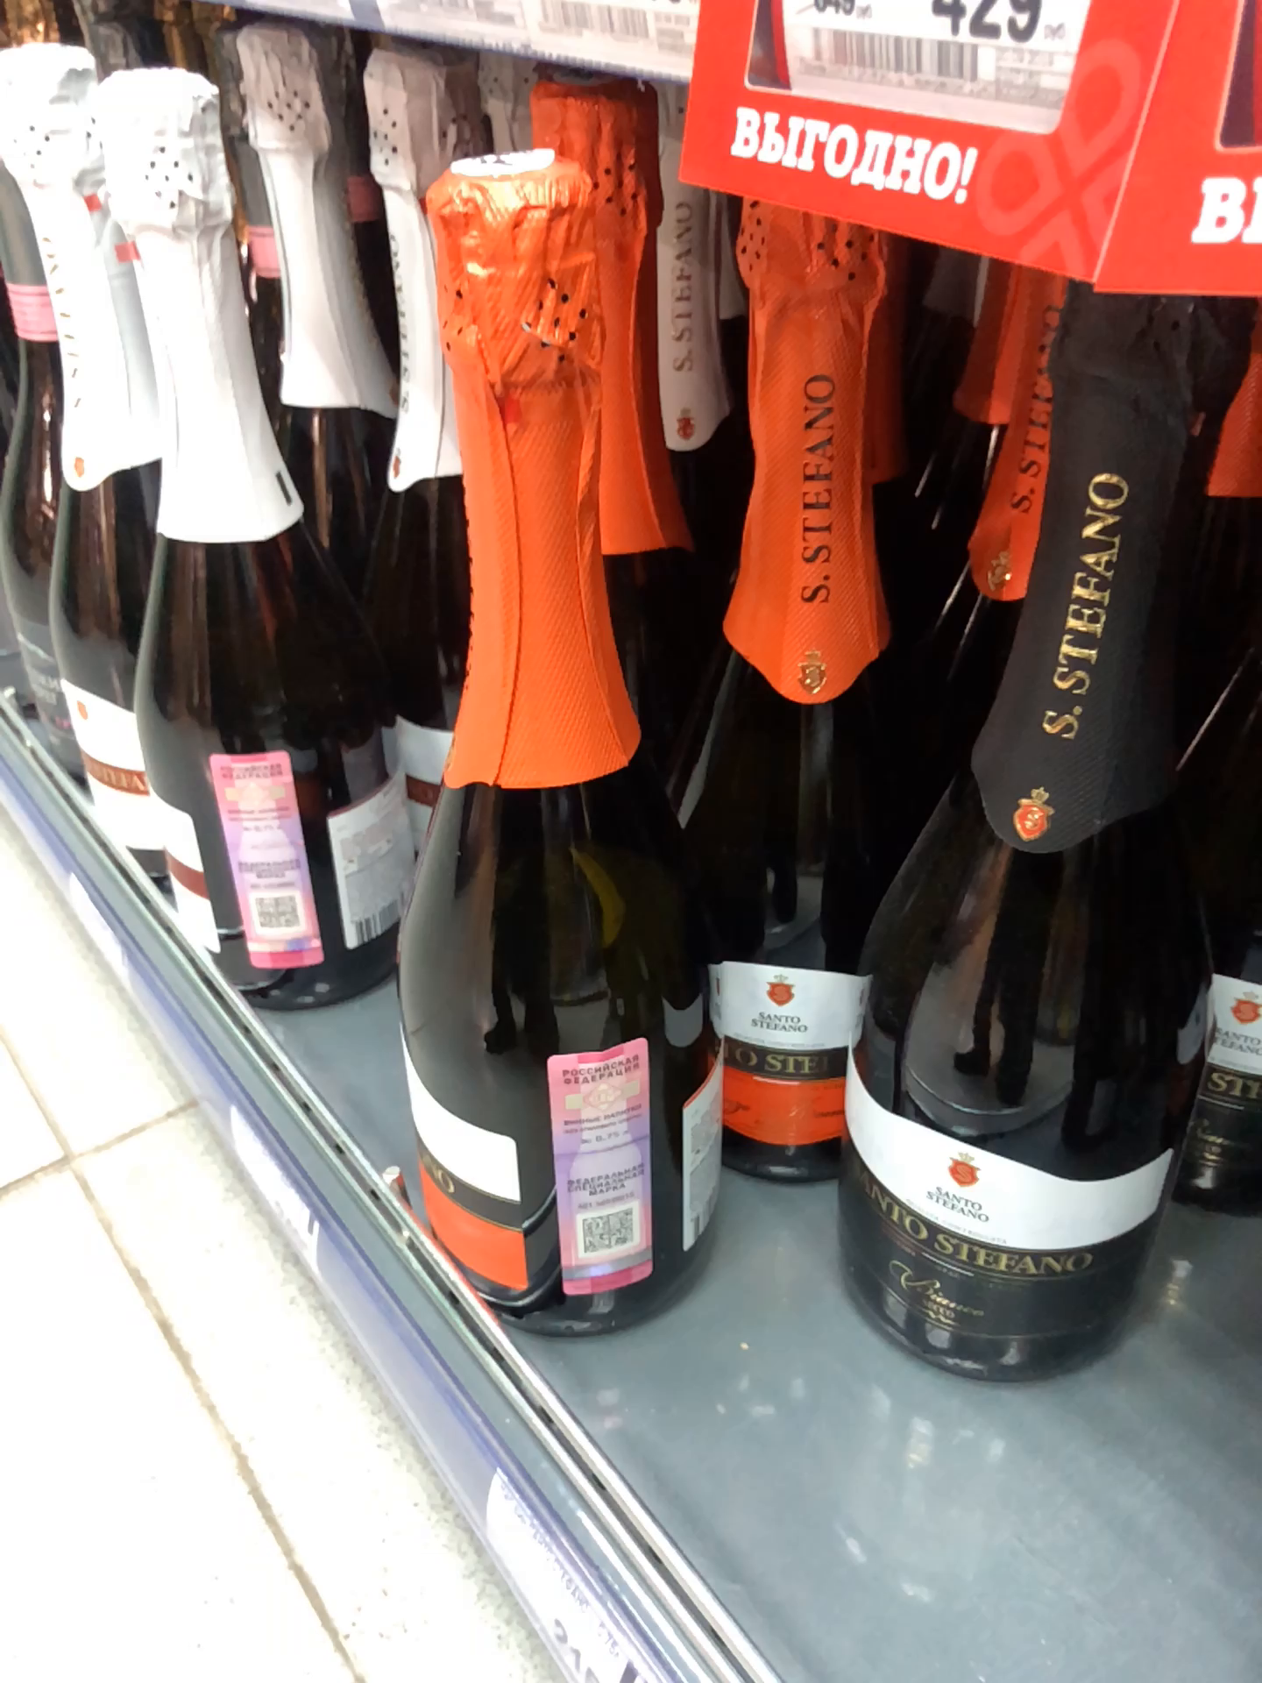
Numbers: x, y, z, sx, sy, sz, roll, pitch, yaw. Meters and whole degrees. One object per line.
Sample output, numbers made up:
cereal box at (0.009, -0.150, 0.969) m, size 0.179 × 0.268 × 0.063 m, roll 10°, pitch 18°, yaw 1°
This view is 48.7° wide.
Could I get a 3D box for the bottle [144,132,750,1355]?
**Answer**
bottle at (-0.026, -0.005, 0.355) m, size 0.100 × 0.298 × 0.101 m, roll -2°, pitch 35°, yaw 1°
